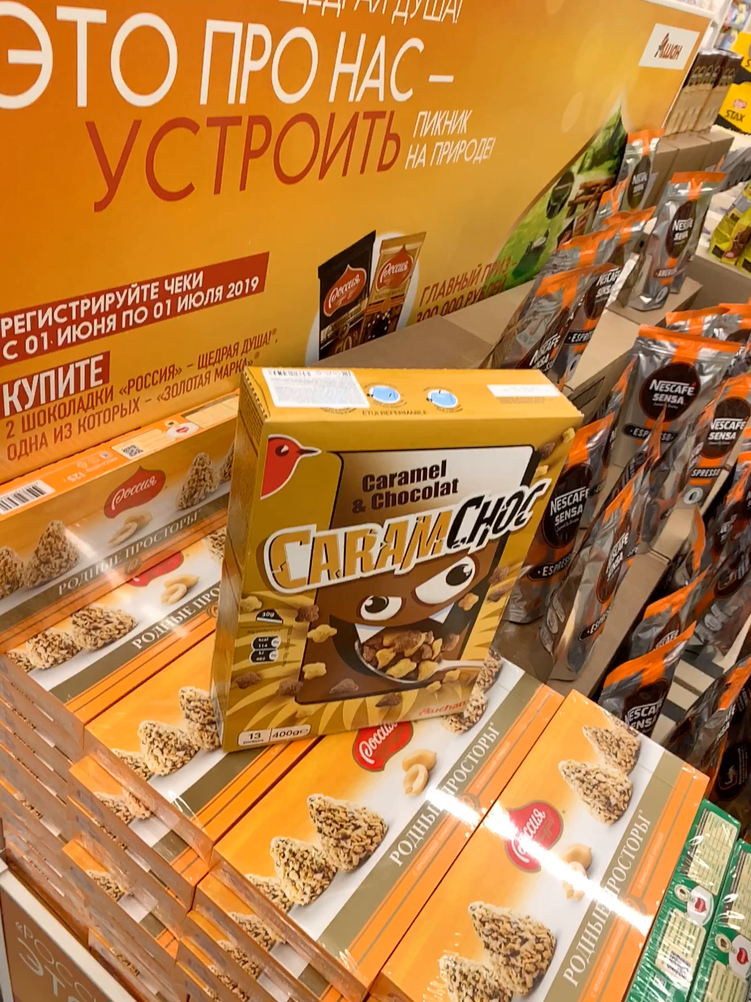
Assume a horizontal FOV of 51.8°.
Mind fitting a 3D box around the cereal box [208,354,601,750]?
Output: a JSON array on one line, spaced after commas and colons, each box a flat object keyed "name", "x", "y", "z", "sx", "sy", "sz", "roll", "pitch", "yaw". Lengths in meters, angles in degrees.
[{"name": "cereal box", "x": 0.003, "y": 0.043, "z": 0.522, "sx": 0.200, "sy": 0.278, "sz": 0.060, "roll": -2, "pitch": 39, "yaw": -22}]
